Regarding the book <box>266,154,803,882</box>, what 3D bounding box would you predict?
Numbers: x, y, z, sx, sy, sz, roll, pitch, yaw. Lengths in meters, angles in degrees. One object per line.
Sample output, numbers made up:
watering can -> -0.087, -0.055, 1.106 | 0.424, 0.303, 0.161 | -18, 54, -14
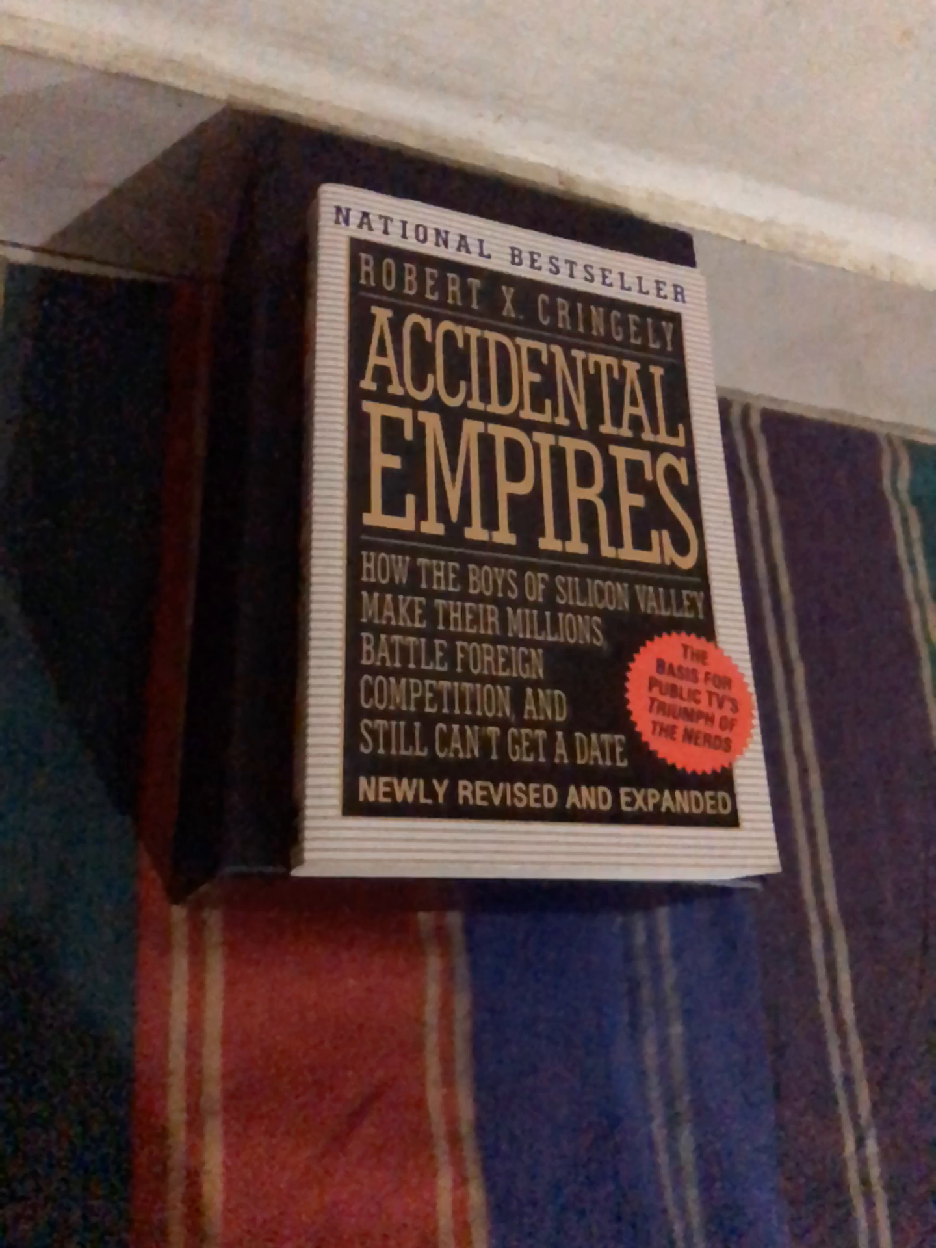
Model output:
book -> 0.015, -0.027, 0.295 | 0.130, 0.040, 0.190 | 6, 69, -21
